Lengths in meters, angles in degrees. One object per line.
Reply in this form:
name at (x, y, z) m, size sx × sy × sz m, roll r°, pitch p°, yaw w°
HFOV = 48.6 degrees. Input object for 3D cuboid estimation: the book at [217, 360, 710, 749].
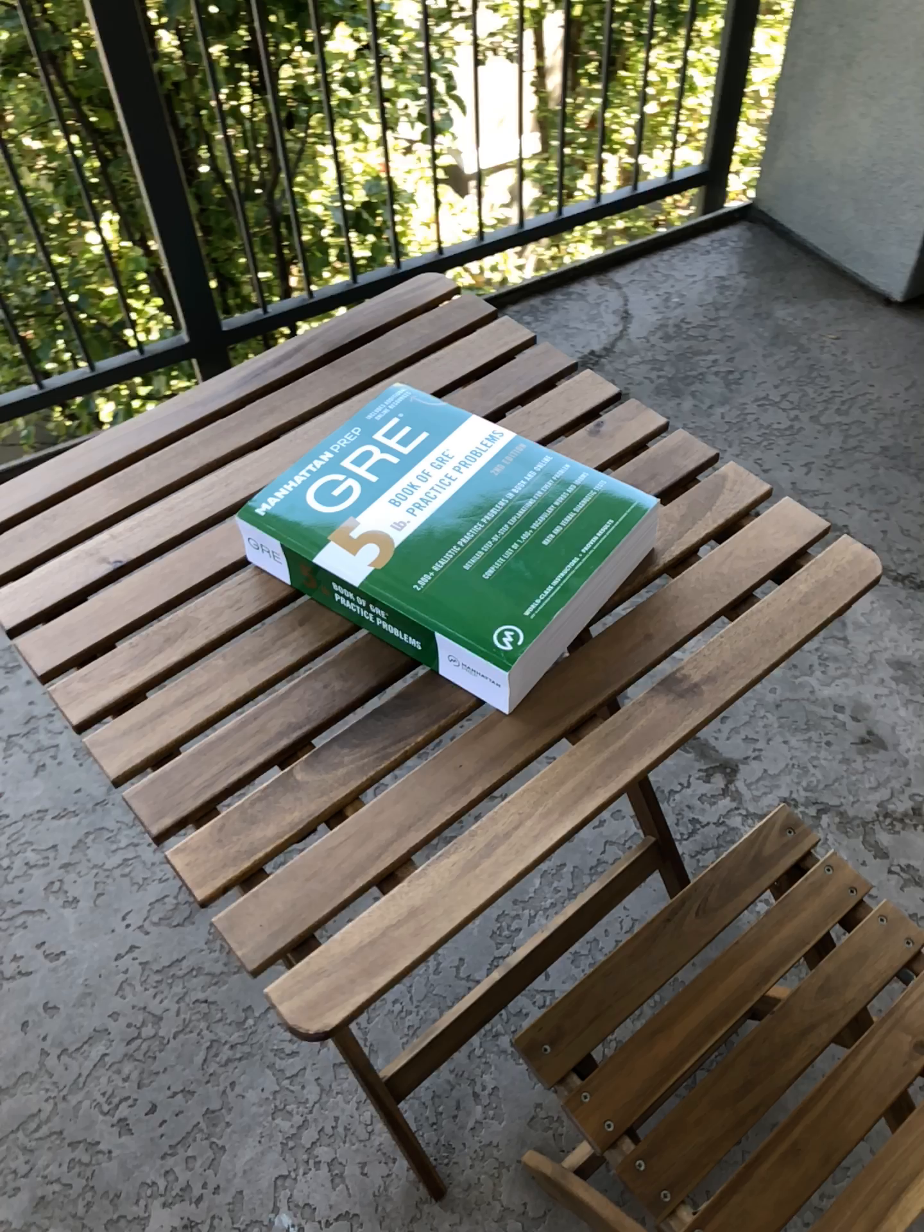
book at (0.003, -0.070, 0.848) m, size 0.310 × 0.060 × 0.250 m, roll 29°, pitch 58°, yaw 23°
